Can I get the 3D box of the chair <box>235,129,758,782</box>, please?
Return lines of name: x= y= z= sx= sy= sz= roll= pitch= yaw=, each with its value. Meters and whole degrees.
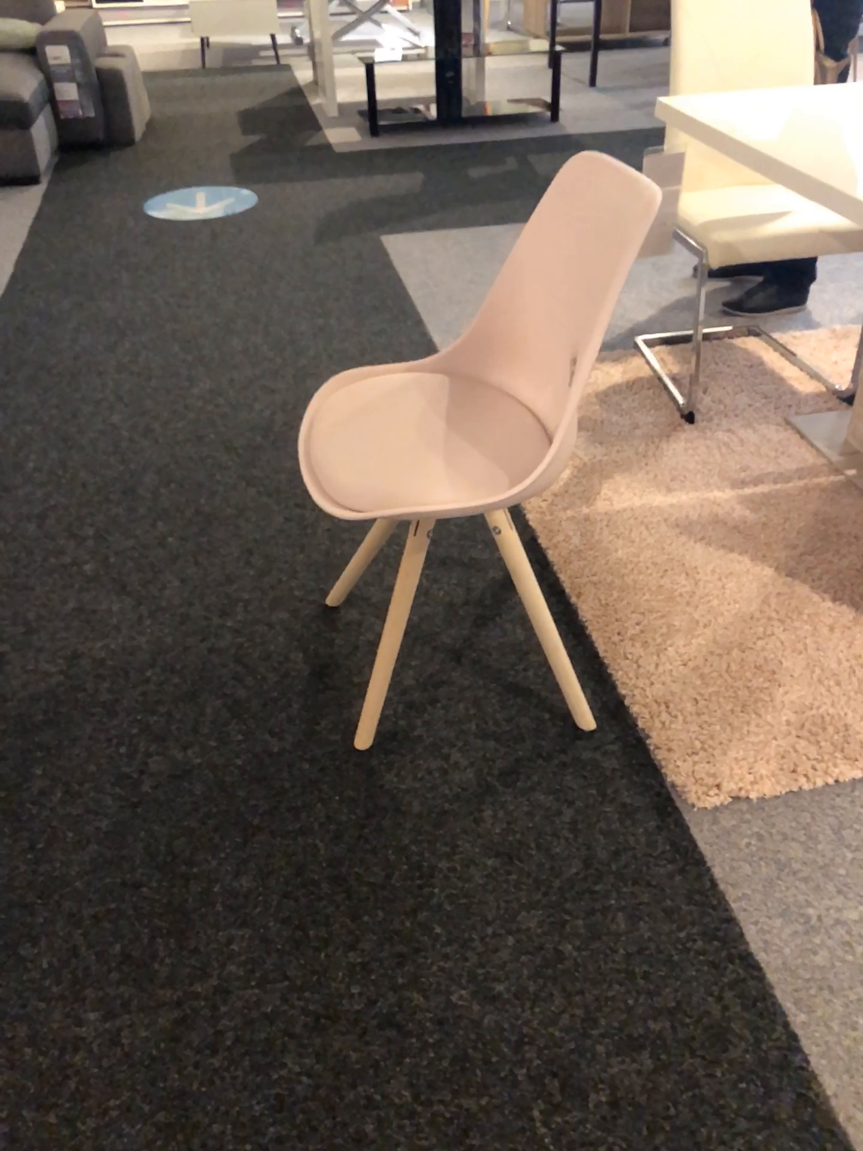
chair: x=0.045 y=-0.202 z=1.479 sx=0.561 sy=0.765 sz=0.573 roll=-8 pitch=37 yaw=-9
